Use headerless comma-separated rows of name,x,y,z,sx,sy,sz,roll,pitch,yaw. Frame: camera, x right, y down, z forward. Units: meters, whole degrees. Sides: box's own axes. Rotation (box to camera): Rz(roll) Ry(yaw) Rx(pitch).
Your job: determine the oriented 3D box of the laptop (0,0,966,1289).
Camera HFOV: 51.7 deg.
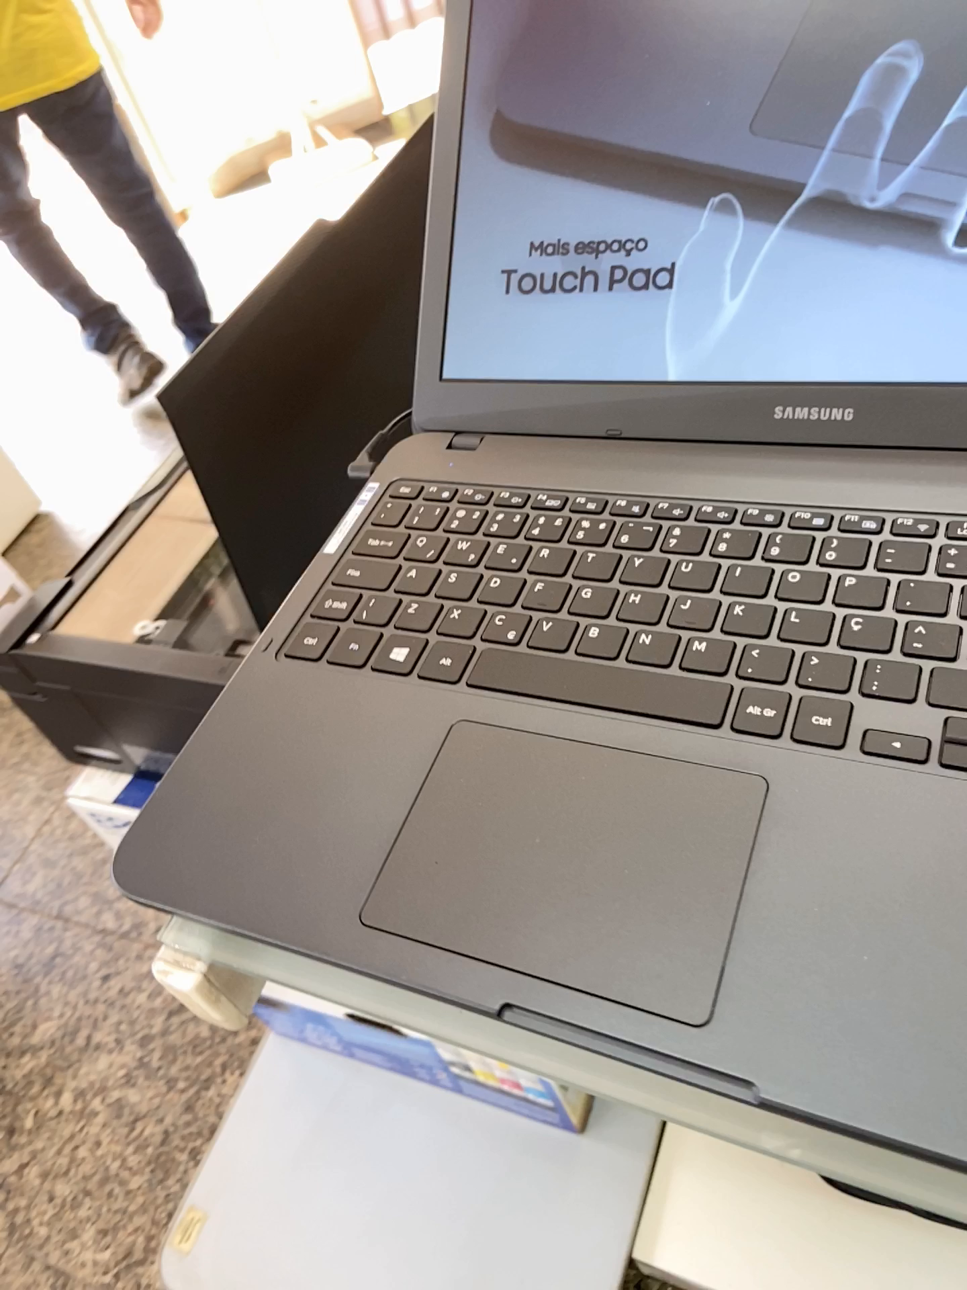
laptop,0.094,-0.106,0.317,0.367,0.157,0.413,7,52,26
